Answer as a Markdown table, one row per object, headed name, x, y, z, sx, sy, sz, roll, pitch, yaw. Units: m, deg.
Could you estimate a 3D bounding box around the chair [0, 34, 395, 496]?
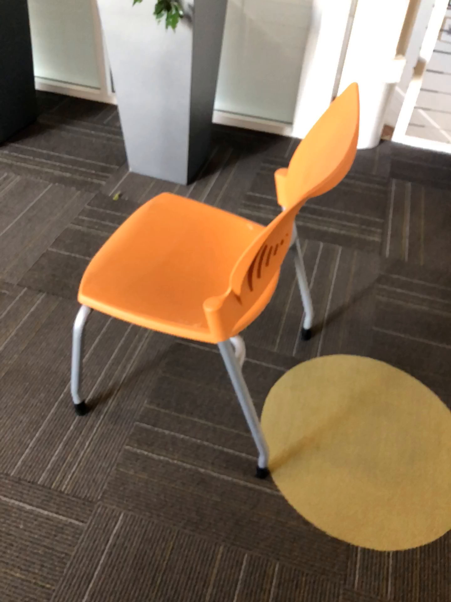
| name | x | y | z | sx | sy | sz | roll | pitch | yaw |
| --- | --- | --- | --- | --- | --- | --- | --- | --- | --- |
| chair | -0.036 | -0.095 | 1.207 | 0.610 | 0.747 | 0.642 | 15 | 45 | 11 |
